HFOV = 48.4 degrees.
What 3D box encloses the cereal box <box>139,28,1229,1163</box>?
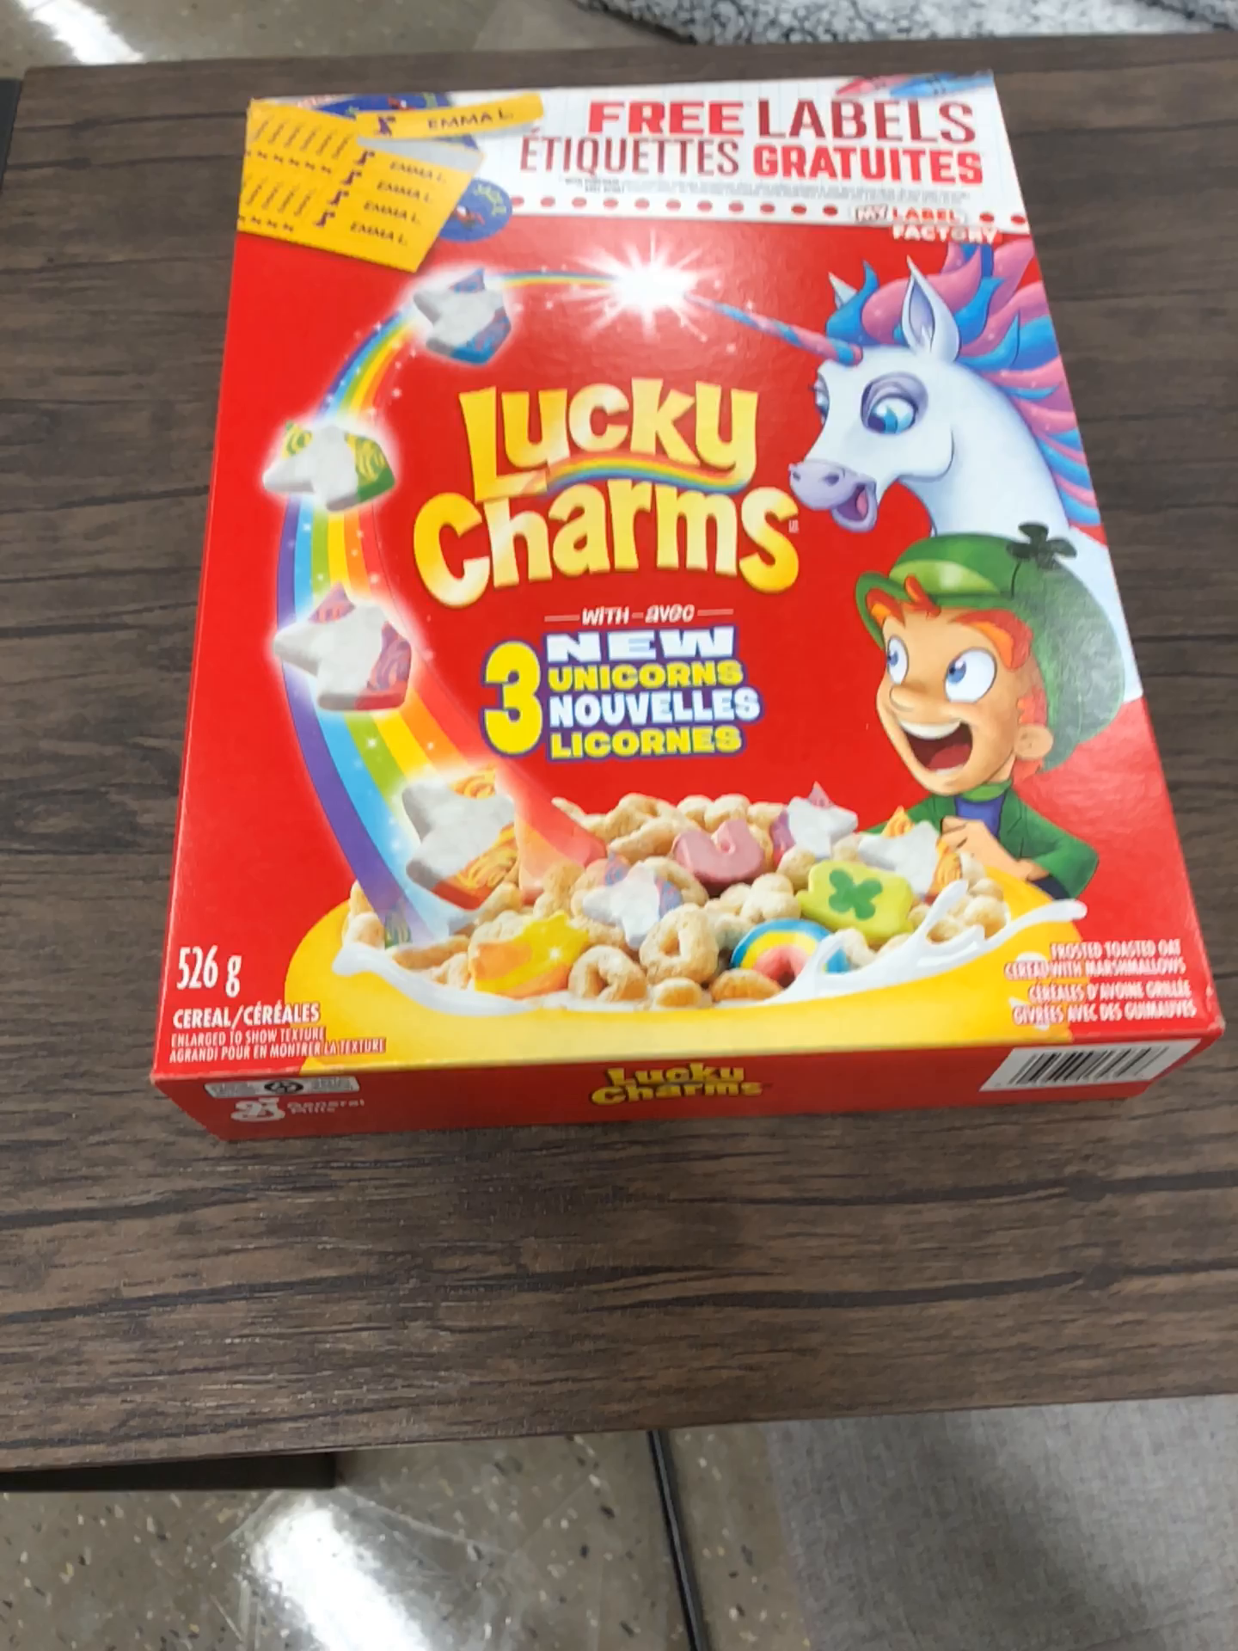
[{"bbox_3d":[0.006,-0.083,0.399,0.230,0.080,0.330,-3,64,-1],"label":"cereal box"}]
